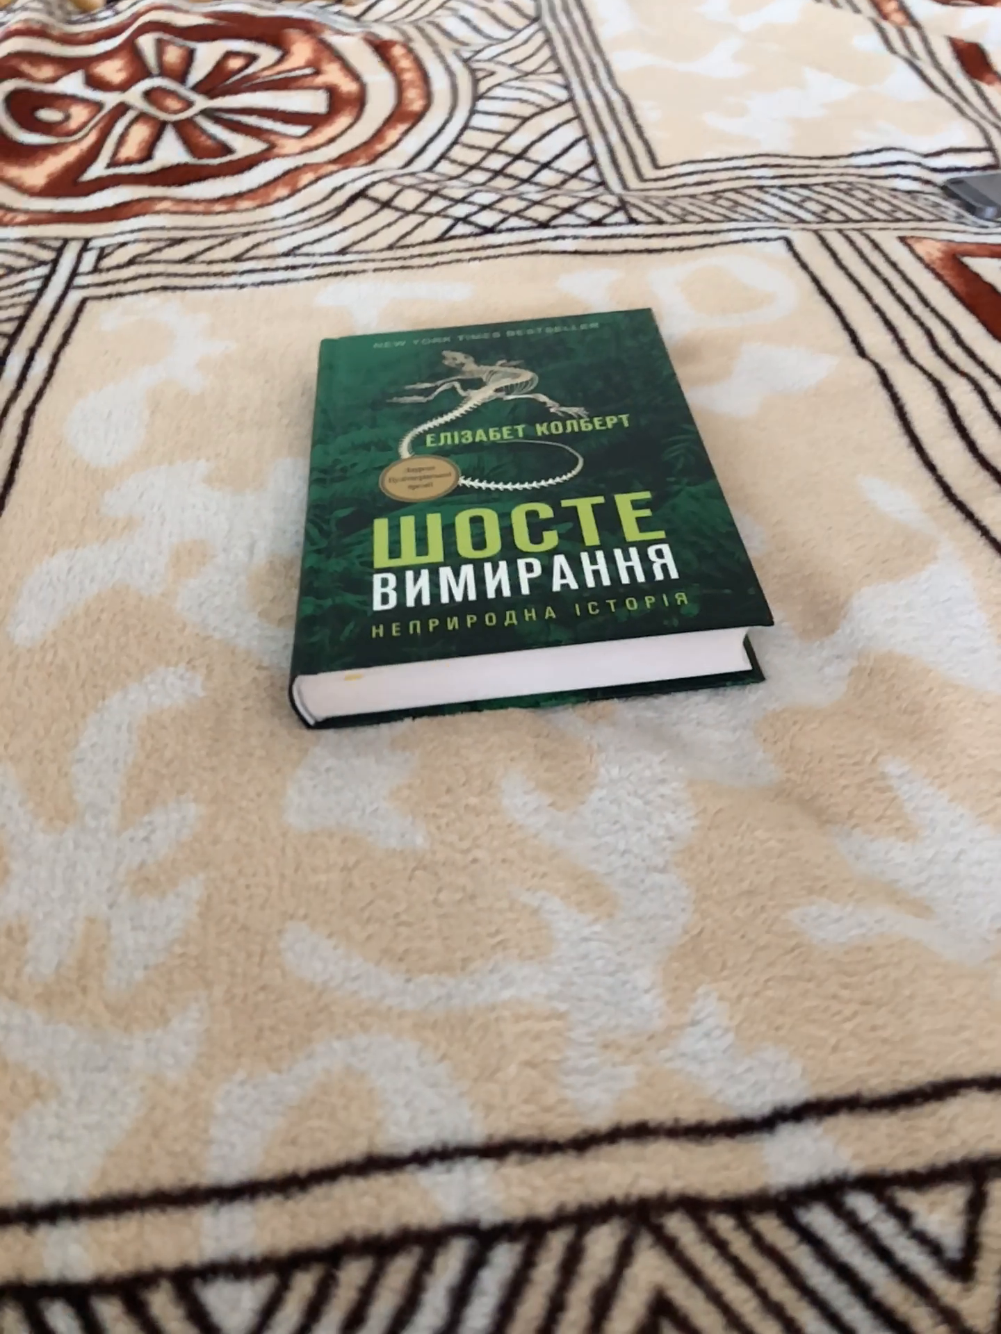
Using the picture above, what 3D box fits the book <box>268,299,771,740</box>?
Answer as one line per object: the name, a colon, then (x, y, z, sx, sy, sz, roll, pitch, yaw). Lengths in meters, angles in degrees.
book: (-0.001, -0.070, 0.417, 0.150, 0.030, 0.221, -6, 43, 0)
